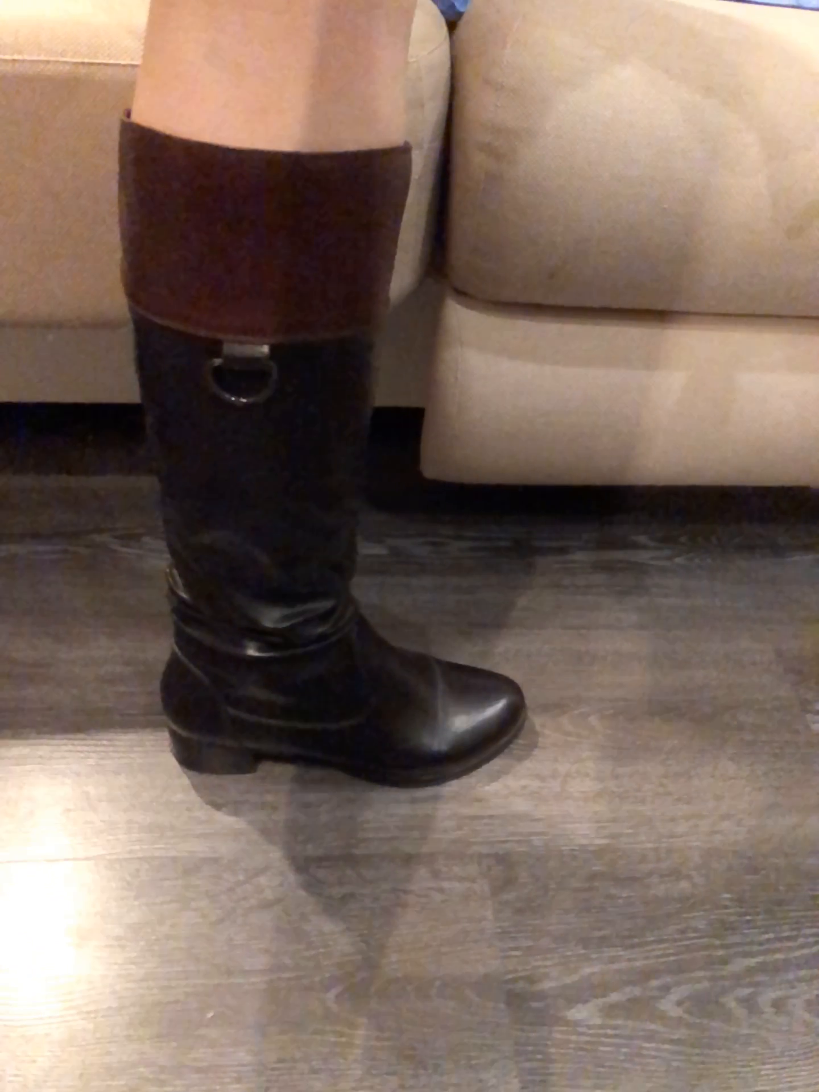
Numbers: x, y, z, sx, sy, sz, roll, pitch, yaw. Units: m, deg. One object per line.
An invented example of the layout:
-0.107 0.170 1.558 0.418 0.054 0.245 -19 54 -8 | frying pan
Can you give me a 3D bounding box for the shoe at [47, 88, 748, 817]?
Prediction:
-0.019 -0.016 0.521 0.270 0.417 0.111 -1 41 -7 | shoe
